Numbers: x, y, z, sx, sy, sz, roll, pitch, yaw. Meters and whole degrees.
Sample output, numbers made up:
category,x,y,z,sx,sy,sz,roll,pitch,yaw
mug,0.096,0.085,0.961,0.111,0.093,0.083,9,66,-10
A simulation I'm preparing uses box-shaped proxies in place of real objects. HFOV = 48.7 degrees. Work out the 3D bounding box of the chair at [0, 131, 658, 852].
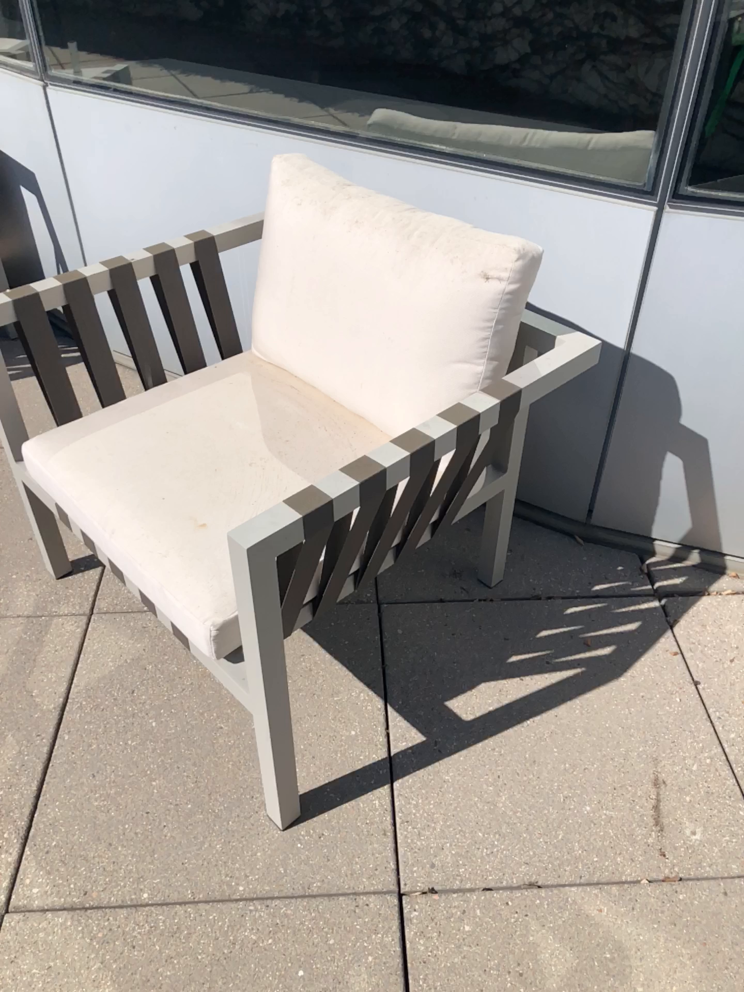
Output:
category,x,y,z,sx,sy,sz,roll,pitch,yaw
chair,-0.158,-0.107,1.491,0.781,0.736,0.873,-30,48,-32
